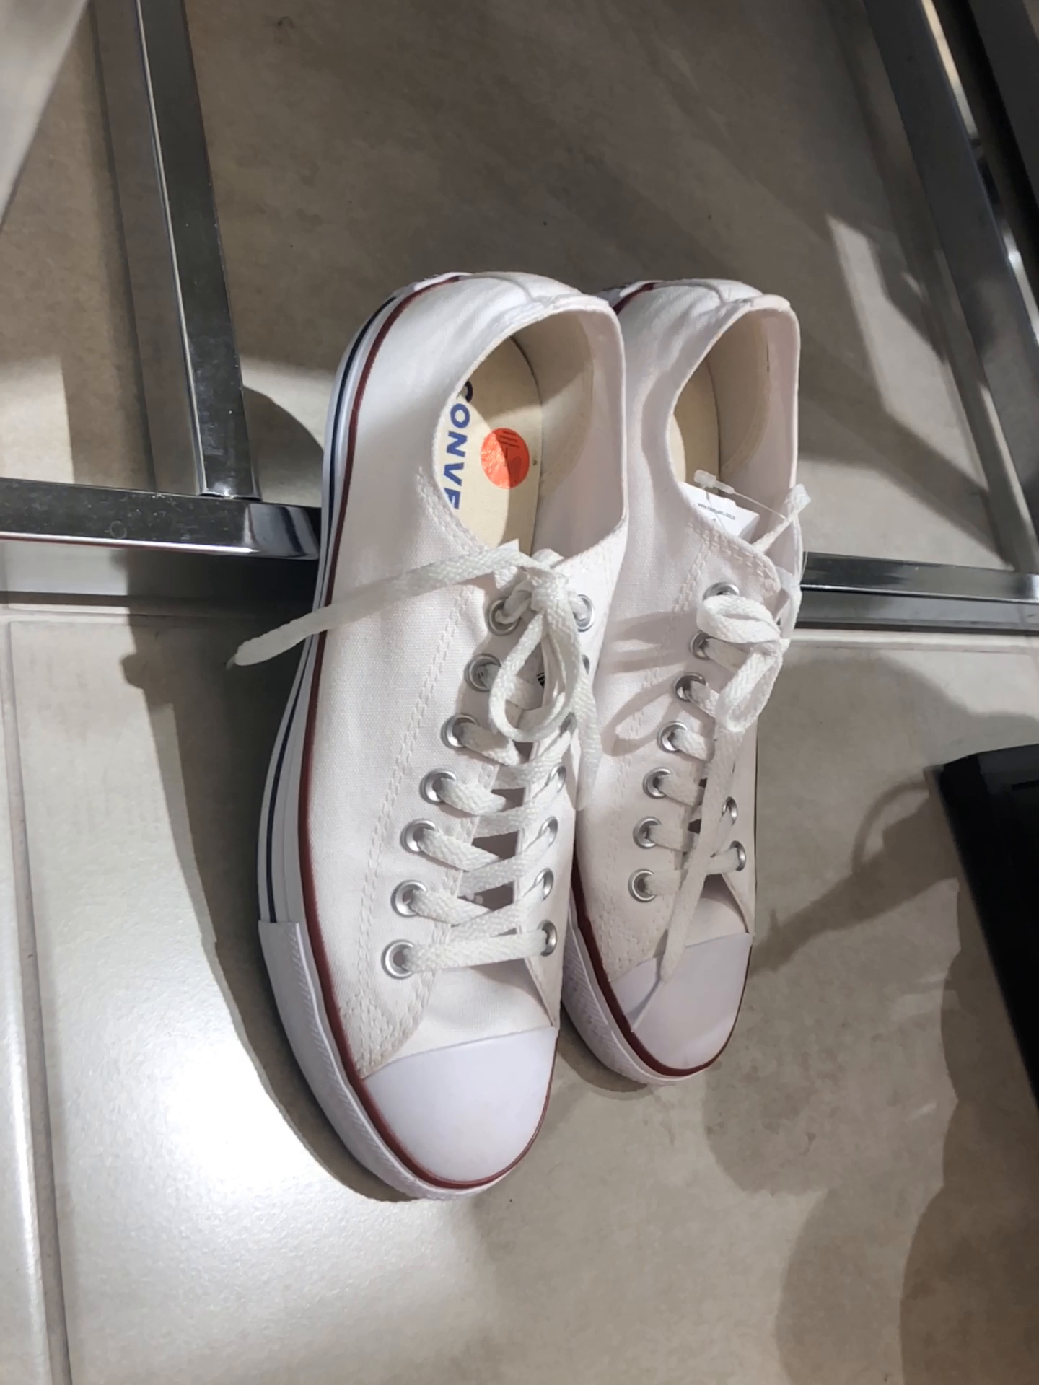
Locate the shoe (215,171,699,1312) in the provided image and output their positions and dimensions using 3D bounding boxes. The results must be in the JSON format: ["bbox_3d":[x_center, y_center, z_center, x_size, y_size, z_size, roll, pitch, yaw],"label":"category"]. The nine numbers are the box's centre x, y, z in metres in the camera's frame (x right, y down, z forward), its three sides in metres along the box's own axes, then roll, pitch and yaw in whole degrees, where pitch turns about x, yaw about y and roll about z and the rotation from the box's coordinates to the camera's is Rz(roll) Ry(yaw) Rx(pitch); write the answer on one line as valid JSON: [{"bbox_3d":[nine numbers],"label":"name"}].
[{"bbox_3d":[-0.022,0.013,0.359,0.111,0.090,0.290,0,93,-35],"label":"shoe"}]

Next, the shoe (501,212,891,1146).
[{"bbox_3d":[0.062,-0.005,0.422,0.101,0.090,0.290,-2,95,-36],"label":"shoe"}]
